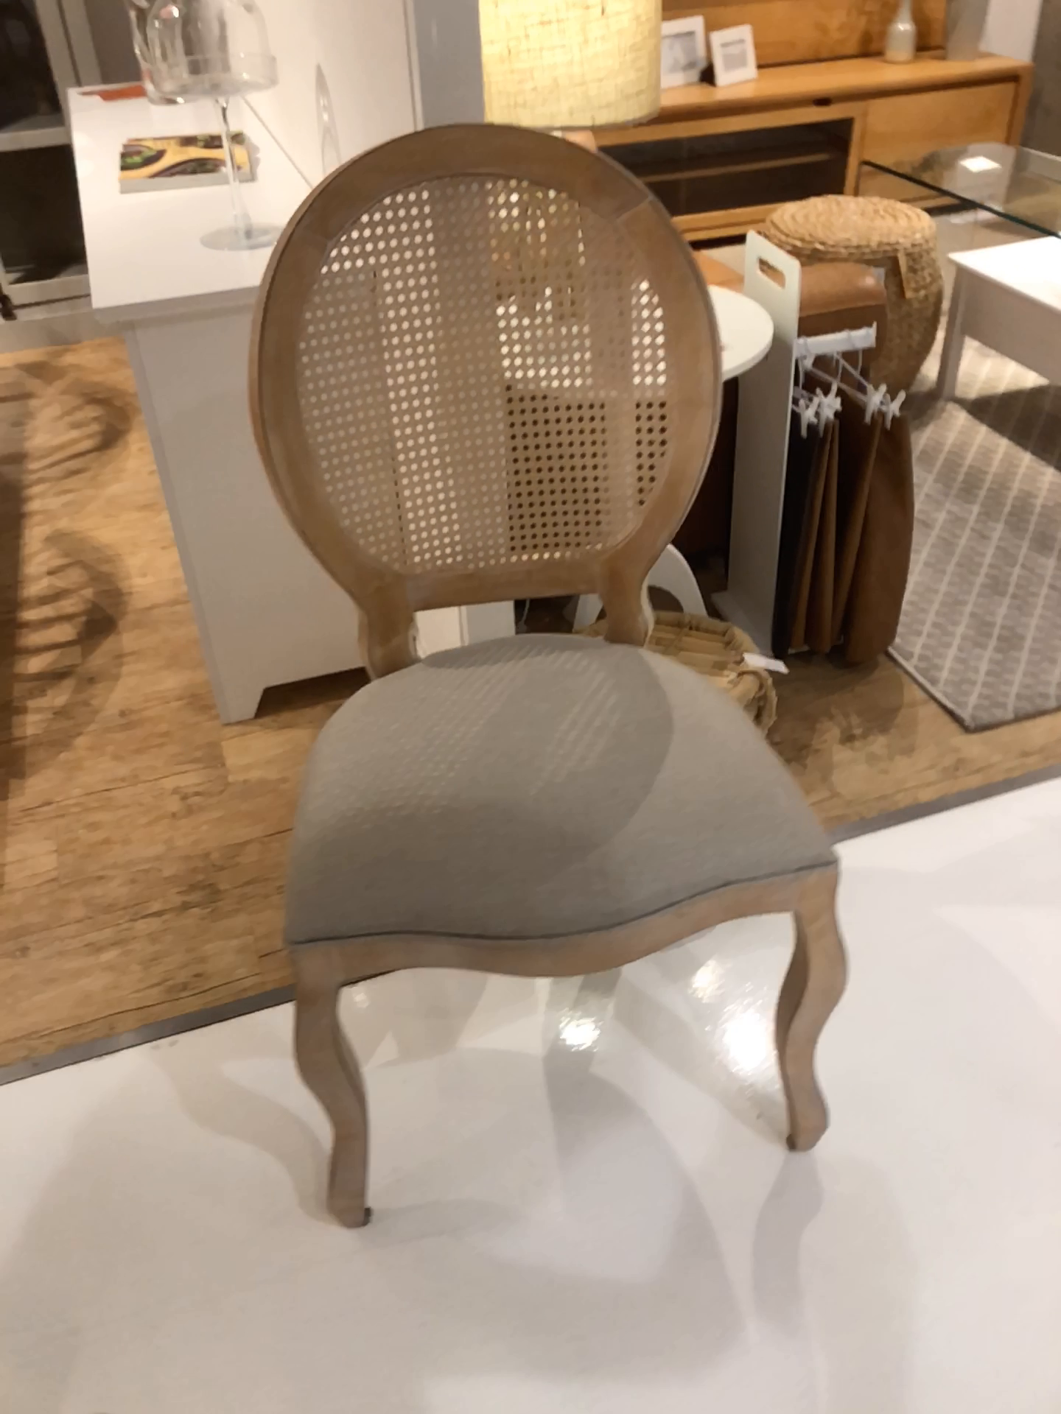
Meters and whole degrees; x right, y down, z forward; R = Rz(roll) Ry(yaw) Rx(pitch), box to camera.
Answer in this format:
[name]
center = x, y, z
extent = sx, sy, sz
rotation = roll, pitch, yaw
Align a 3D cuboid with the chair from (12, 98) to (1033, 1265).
[chair]
center = -0.010, -0.002, 1.160
extent = 0.590, 0.962, 0.524
rotation = -8, 37, -6
